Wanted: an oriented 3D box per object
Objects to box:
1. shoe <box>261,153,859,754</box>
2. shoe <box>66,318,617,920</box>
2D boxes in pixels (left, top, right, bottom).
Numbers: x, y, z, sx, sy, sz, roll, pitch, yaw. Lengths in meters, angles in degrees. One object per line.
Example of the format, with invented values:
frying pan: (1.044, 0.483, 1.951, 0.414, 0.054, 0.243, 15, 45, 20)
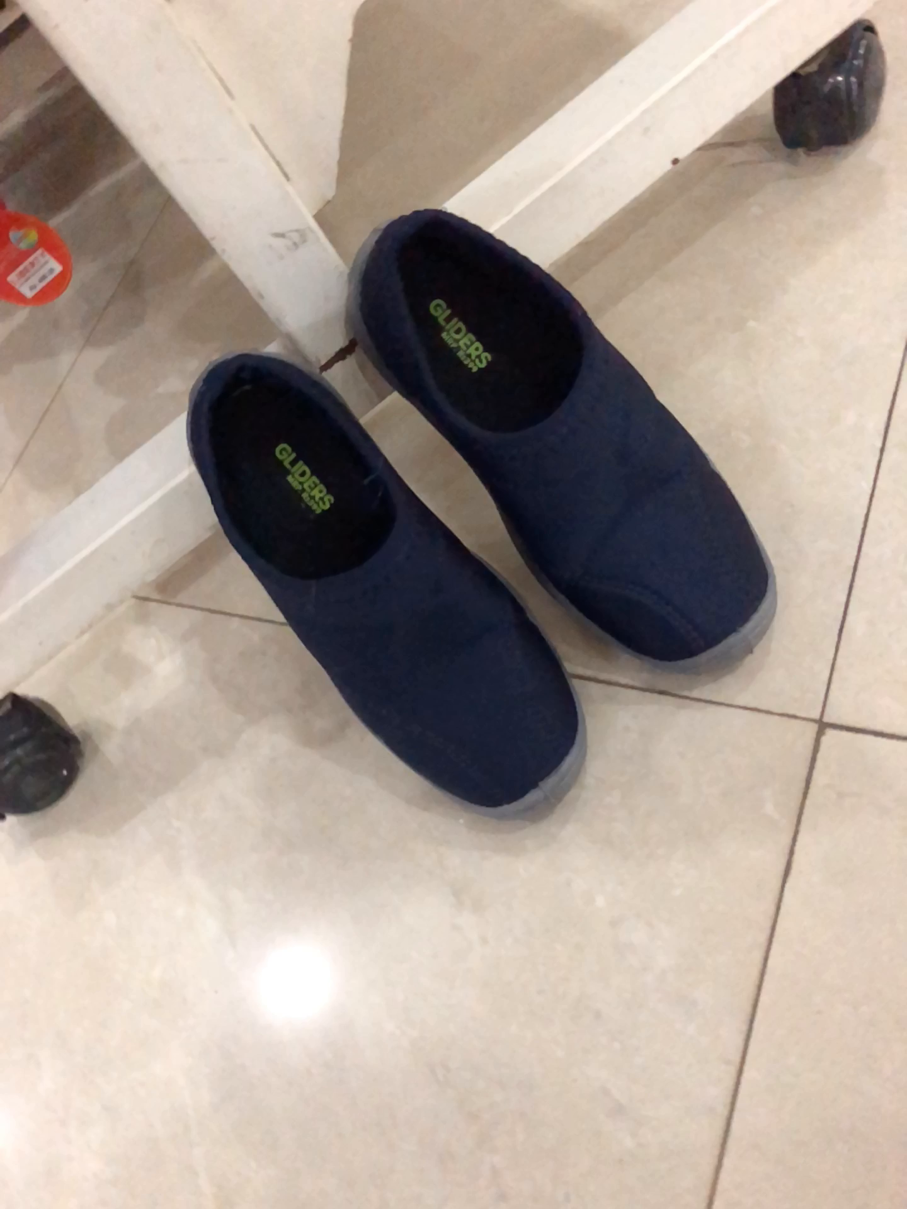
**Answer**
shoe: (0.081, -0.118, 0.895, 0.186, 0.207, 0.490, -42, 82, -1)
shoe: (-0.089, 0.015, 0.855, 0.160, 0.200, 0.460, -40, 83, -5)
